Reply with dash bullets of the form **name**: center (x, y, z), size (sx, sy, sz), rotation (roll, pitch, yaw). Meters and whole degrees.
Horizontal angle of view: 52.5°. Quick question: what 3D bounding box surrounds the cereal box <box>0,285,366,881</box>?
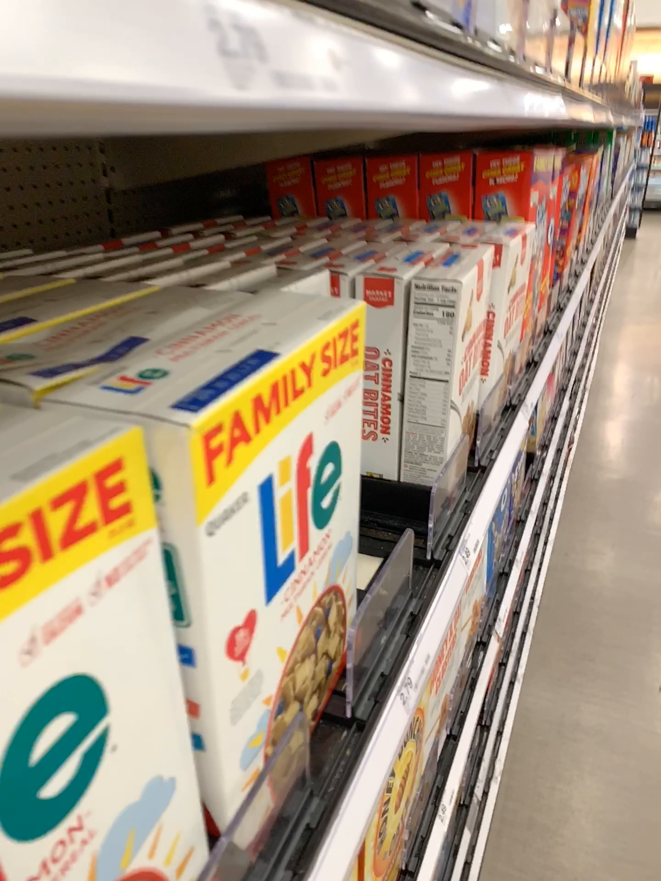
- **cereal box**: center (-0.051, 0.067, 0.372), size (0.070, 0.259, 0.191), rotation (11, 28, 23)
